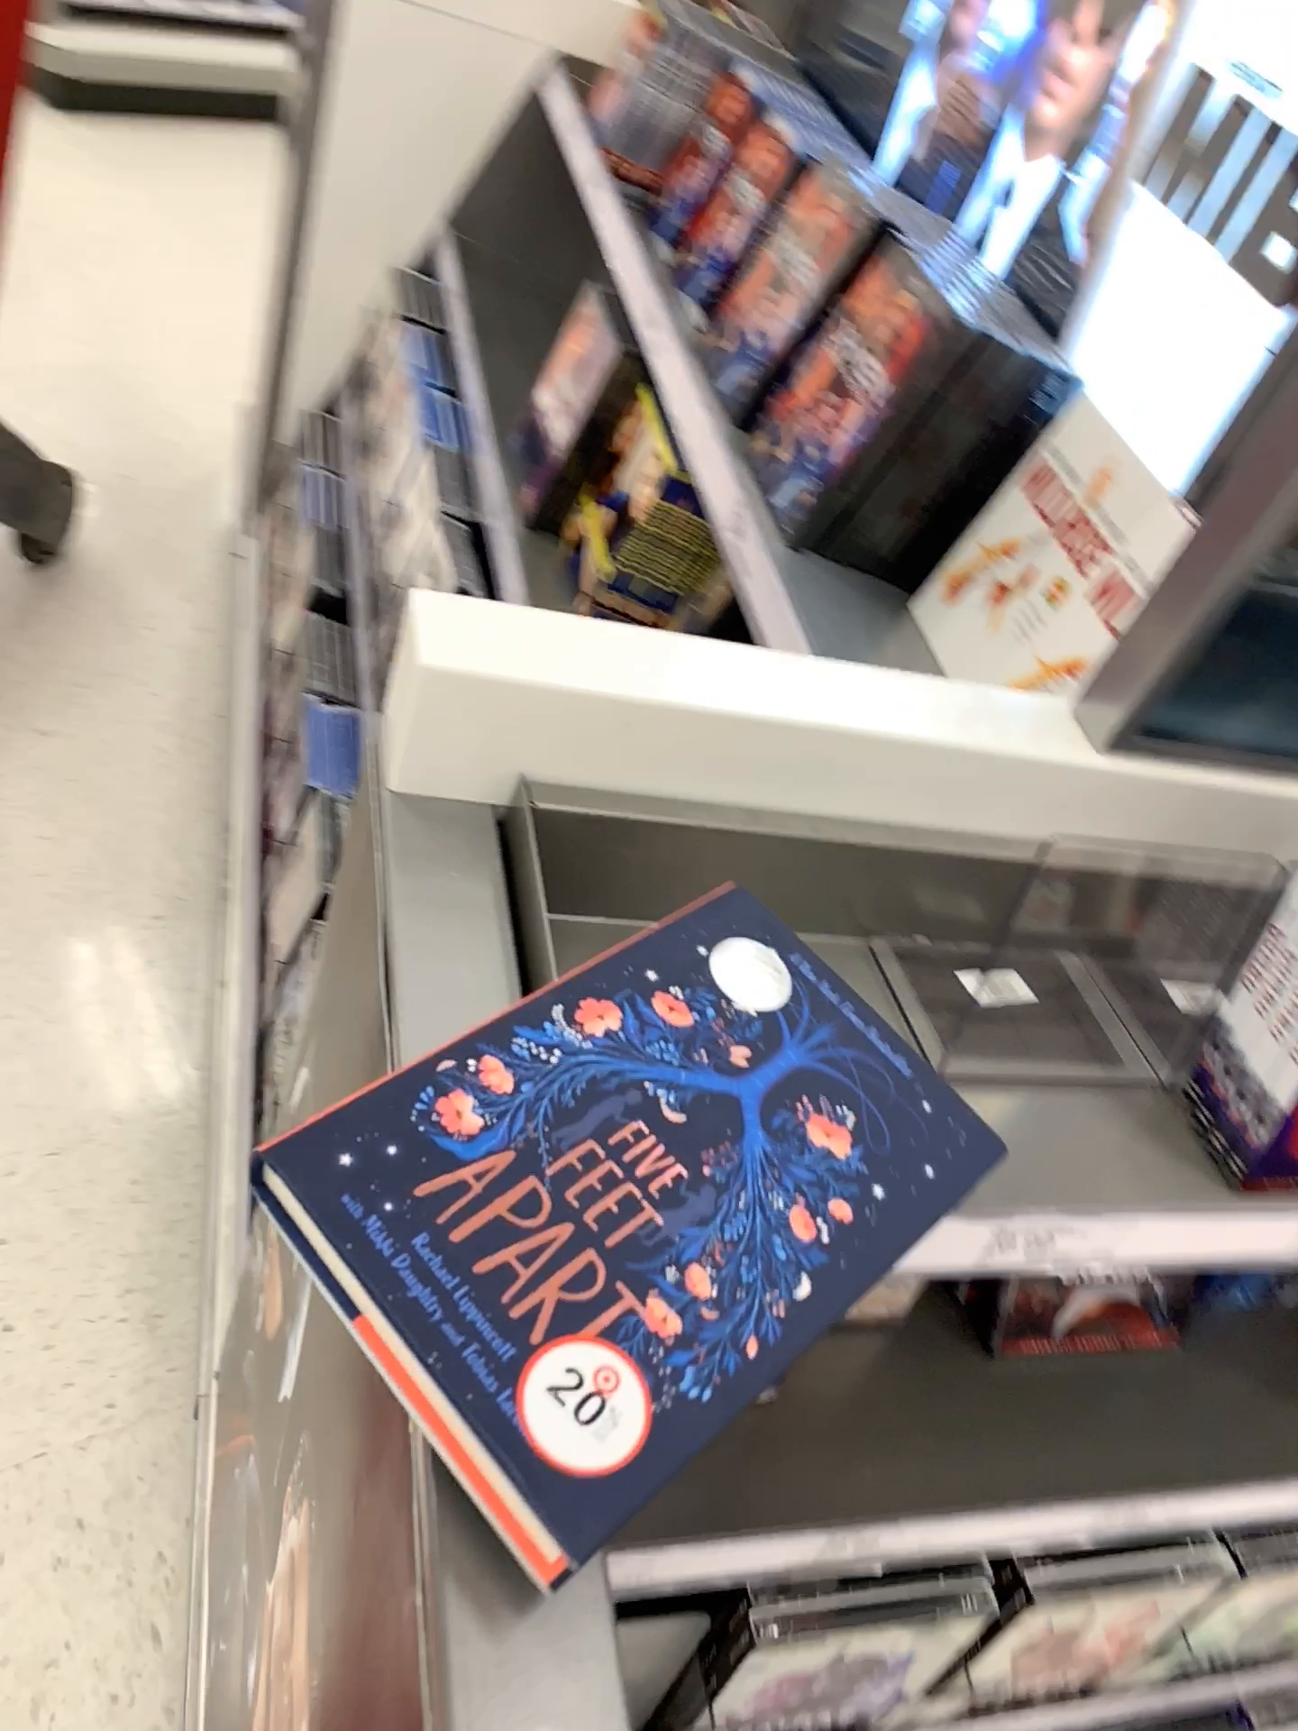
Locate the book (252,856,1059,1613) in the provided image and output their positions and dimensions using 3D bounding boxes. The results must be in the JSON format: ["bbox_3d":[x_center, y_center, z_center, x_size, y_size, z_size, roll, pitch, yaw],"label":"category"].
[{"bbox_3d":[0.012,0.094,0.426,0.221,0.028,0.150,-28,61,-39],"label":"book"}]
